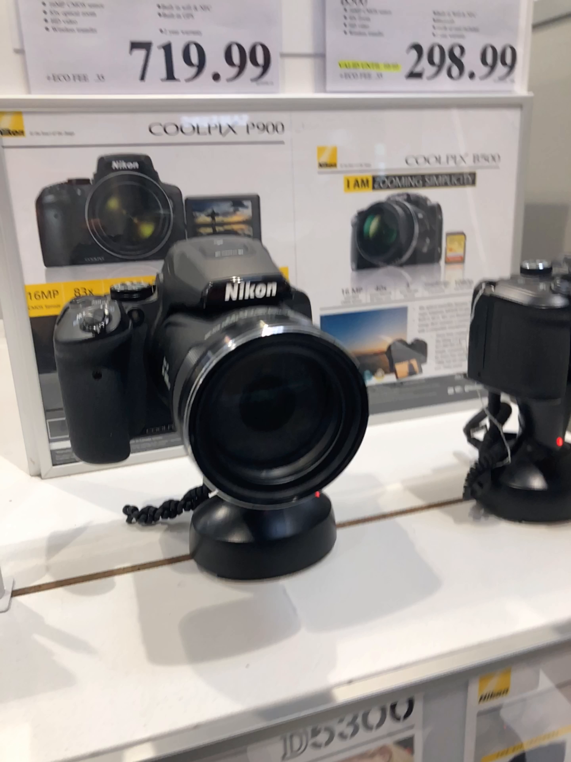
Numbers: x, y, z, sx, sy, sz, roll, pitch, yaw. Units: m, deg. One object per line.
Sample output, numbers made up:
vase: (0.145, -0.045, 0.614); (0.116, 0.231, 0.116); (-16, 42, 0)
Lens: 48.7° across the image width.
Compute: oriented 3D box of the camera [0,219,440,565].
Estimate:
camera: (-0.034, -0.014, 0.288); (0.150, 0.099, 0.141); (-8, 19, -15)
